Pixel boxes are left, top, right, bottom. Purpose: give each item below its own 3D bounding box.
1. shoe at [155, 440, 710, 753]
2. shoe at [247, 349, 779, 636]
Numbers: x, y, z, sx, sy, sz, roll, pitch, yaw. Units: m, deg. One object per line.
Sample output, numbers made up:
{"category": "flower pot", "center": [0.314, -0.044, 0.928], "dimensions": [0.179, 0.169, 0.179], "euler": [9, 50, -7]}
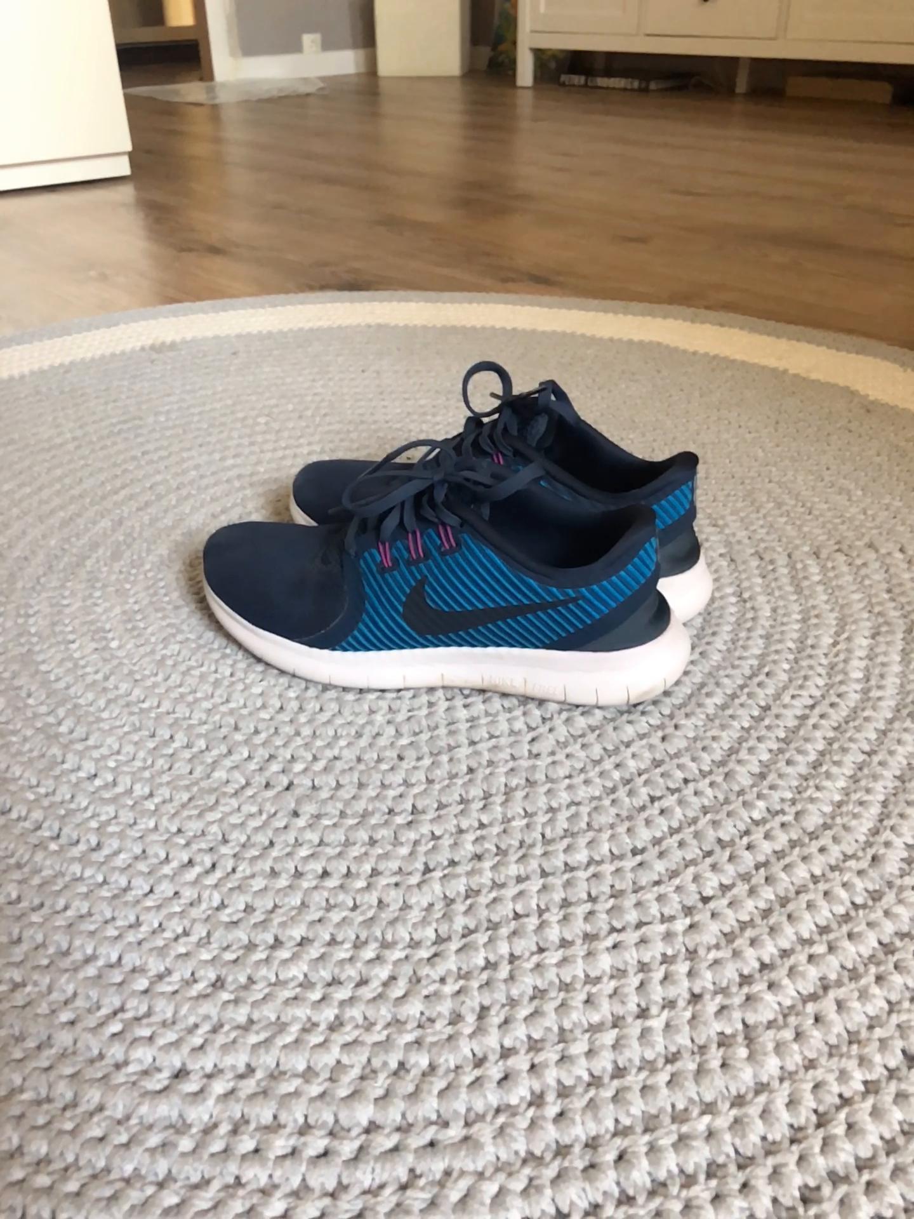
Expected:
{"category": "shoe", "center": [-0.009, -0.015, 0.502], "dimensions": [0.244, 0.080, 0.100], "euler": [9, 33, 16]}
{"category": "shoe", "center": [0.027, -0.076, 0.568], "dimensions": [0.270, 0.080, 0.100], "euler": [14, 34, 23]}
